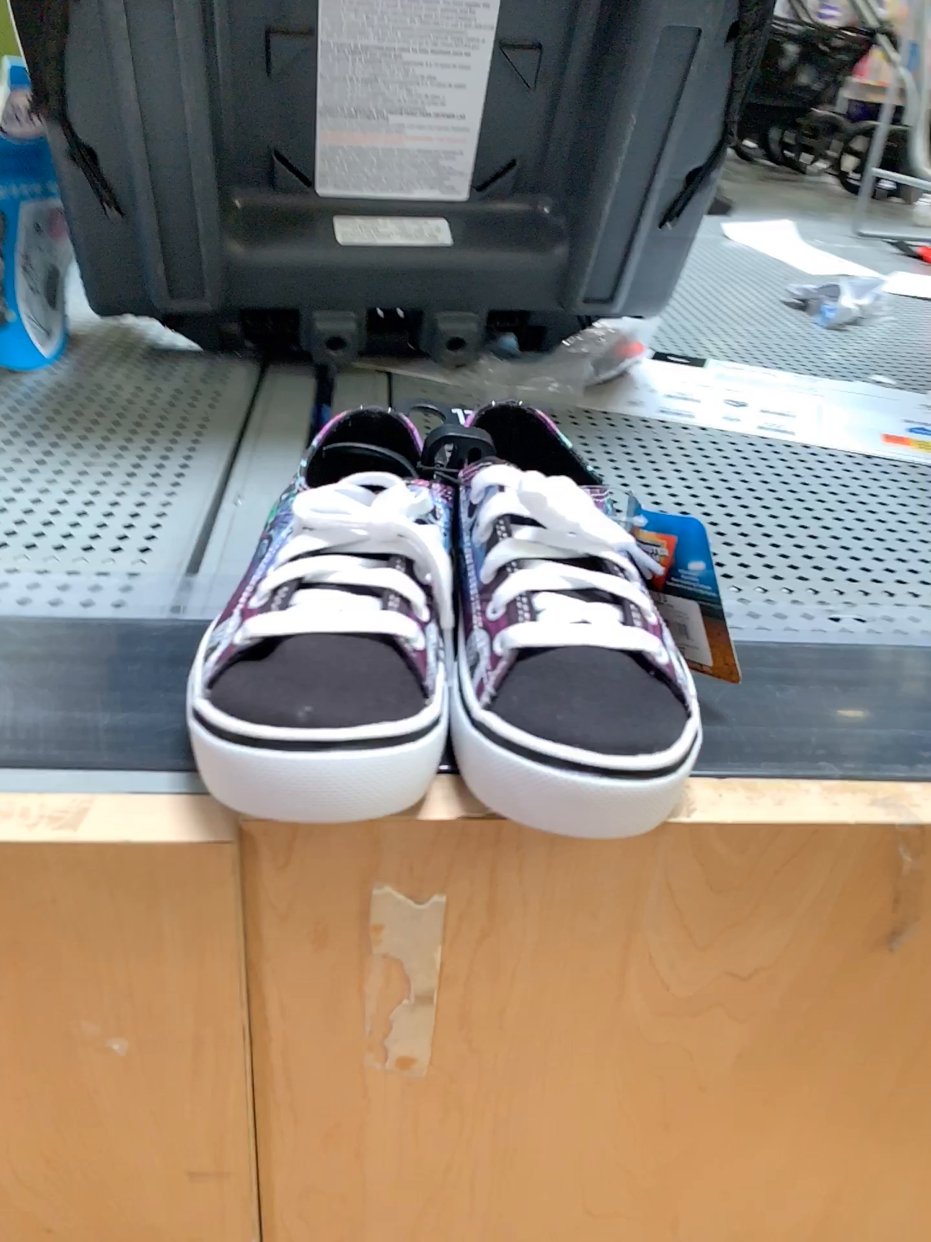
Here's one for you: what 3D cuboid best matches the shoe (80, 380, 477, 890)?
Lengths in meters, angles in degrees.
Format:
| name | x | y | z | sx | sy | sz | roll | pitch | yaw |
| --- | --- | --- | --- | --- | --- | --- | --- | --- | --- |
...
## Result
| name | x | y | z | sx | sy | sz | roll | pitch | yaw |
| --- | --- | --- | --- | --- | --- | --- | --- | --- | --- |
| shoe | -0.046 | -0.014 | 0.335 | 0.091 | 0.073 | 0.209 | 5 | 31 | -1 |

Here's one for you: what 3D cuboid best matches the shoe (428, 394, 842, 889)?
| name | x | y | z | sx | sy | sz | roll | pitch | yaw |
| --- | --- | --- | --- | --- | --- | --- | --- | --- | --- |
| shoe | 0.039 | -0.010 | 0.346 | 0.089 | 0.073 | 0.214 | 1 | 31 | -7 |
